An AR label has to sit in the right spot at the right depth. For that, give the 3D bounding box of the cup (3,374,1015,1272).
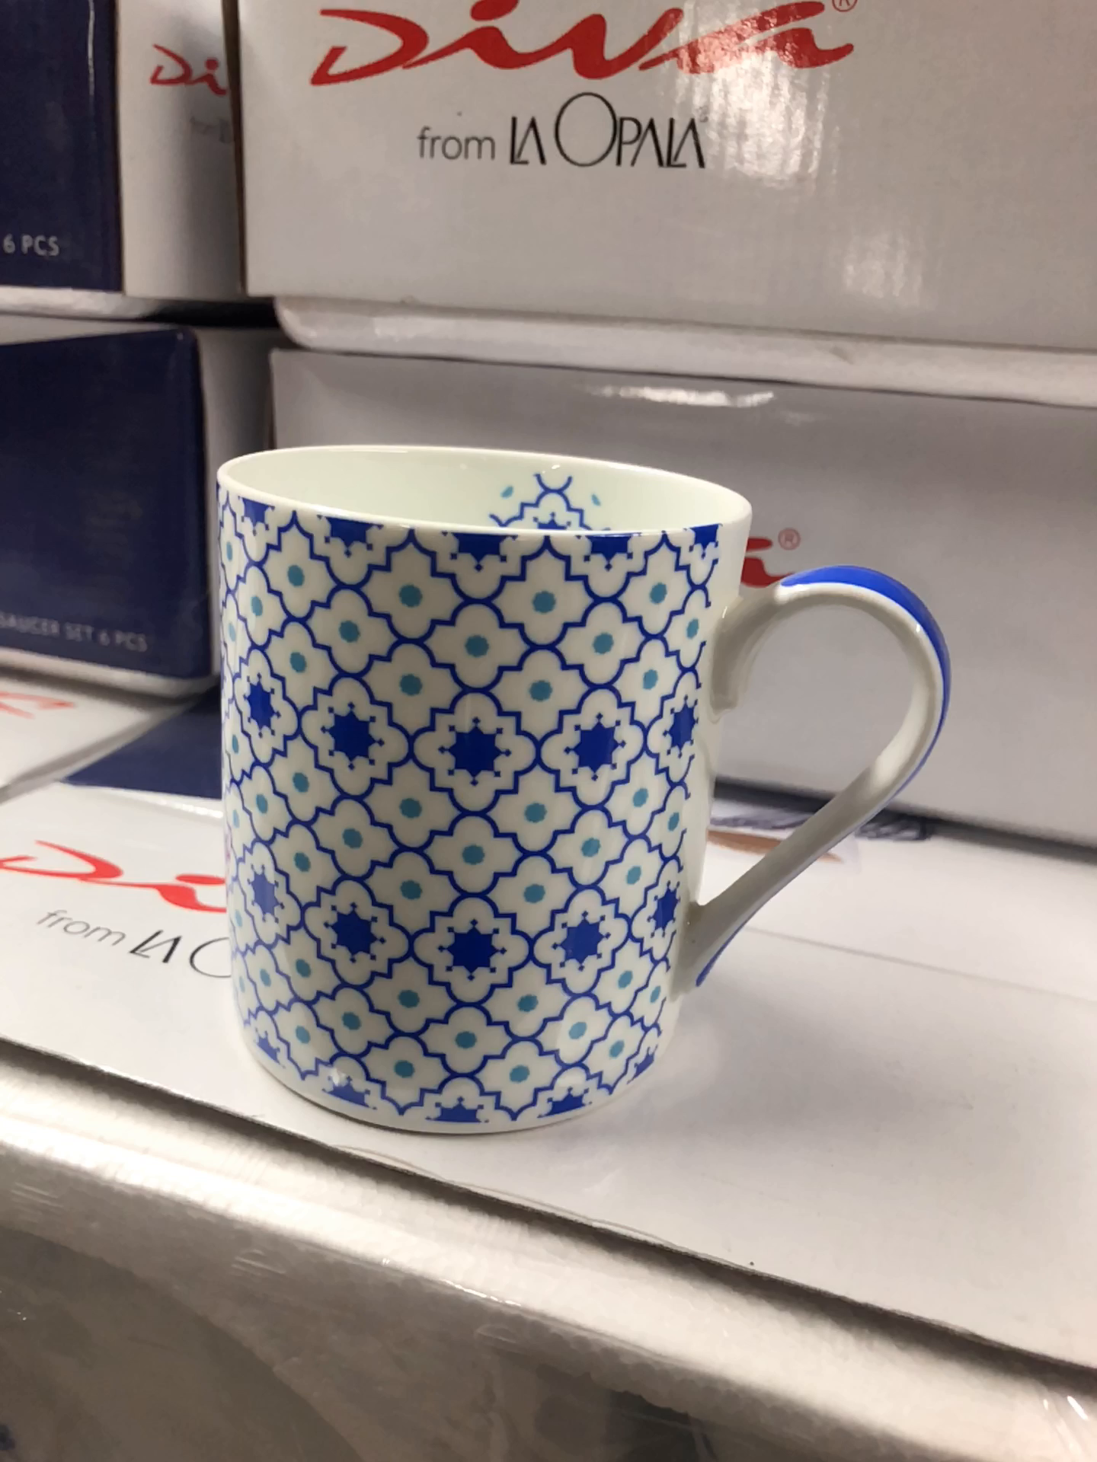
[{"bbox_3d":[-0.001,0.001,0.161,0.100,0.080,0.070,9,21,14],"label":"cup"}]
